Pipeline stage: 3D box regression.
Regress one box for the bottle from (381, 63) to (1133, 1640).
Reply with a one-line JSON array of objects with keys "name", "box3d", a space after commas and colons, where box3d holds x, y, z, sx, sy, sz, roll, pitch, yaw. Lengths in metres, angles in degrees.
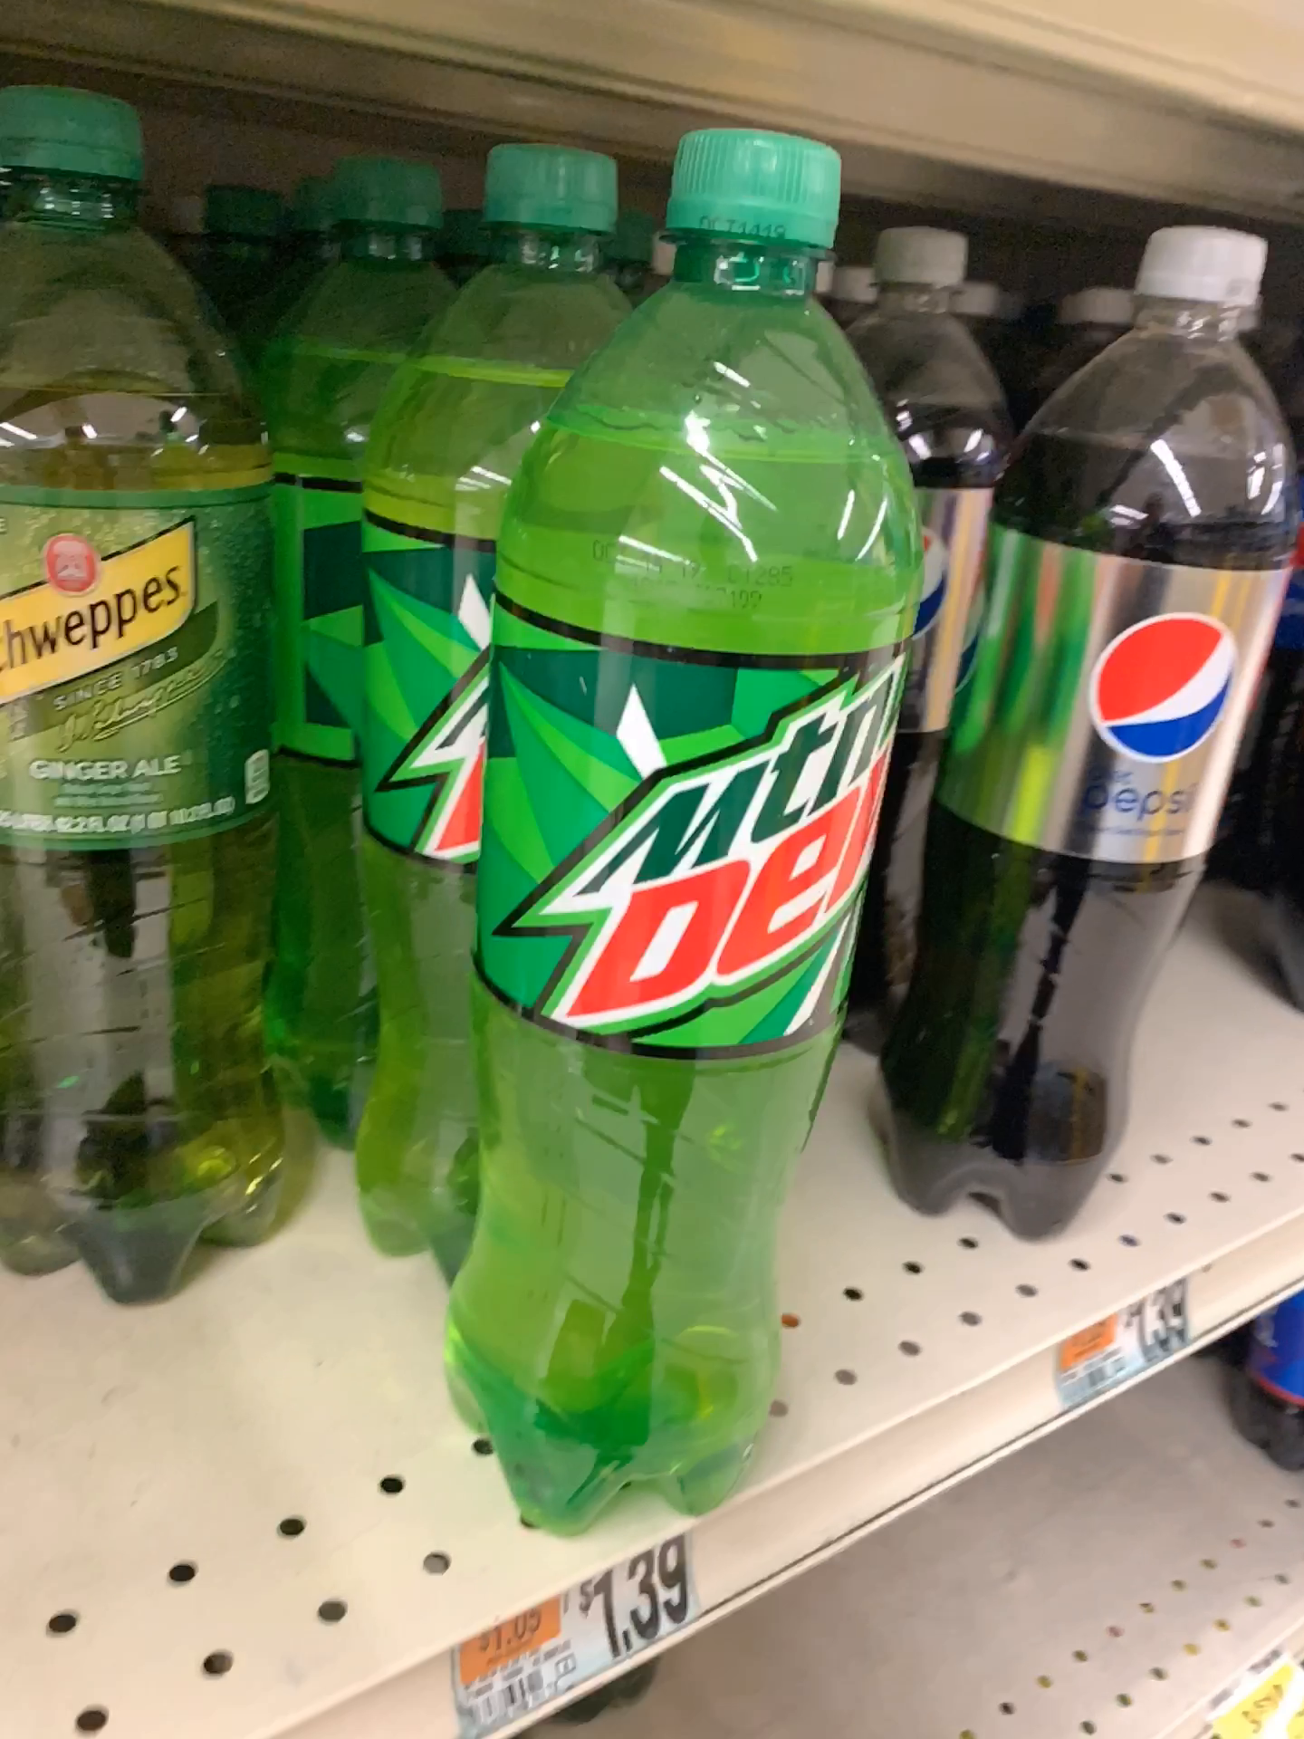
[{"name": "bottle", "box3d": [0.005, 0.007, 0.299, 0.100, 0.302, 0.090, -8, 26, -30]}]
